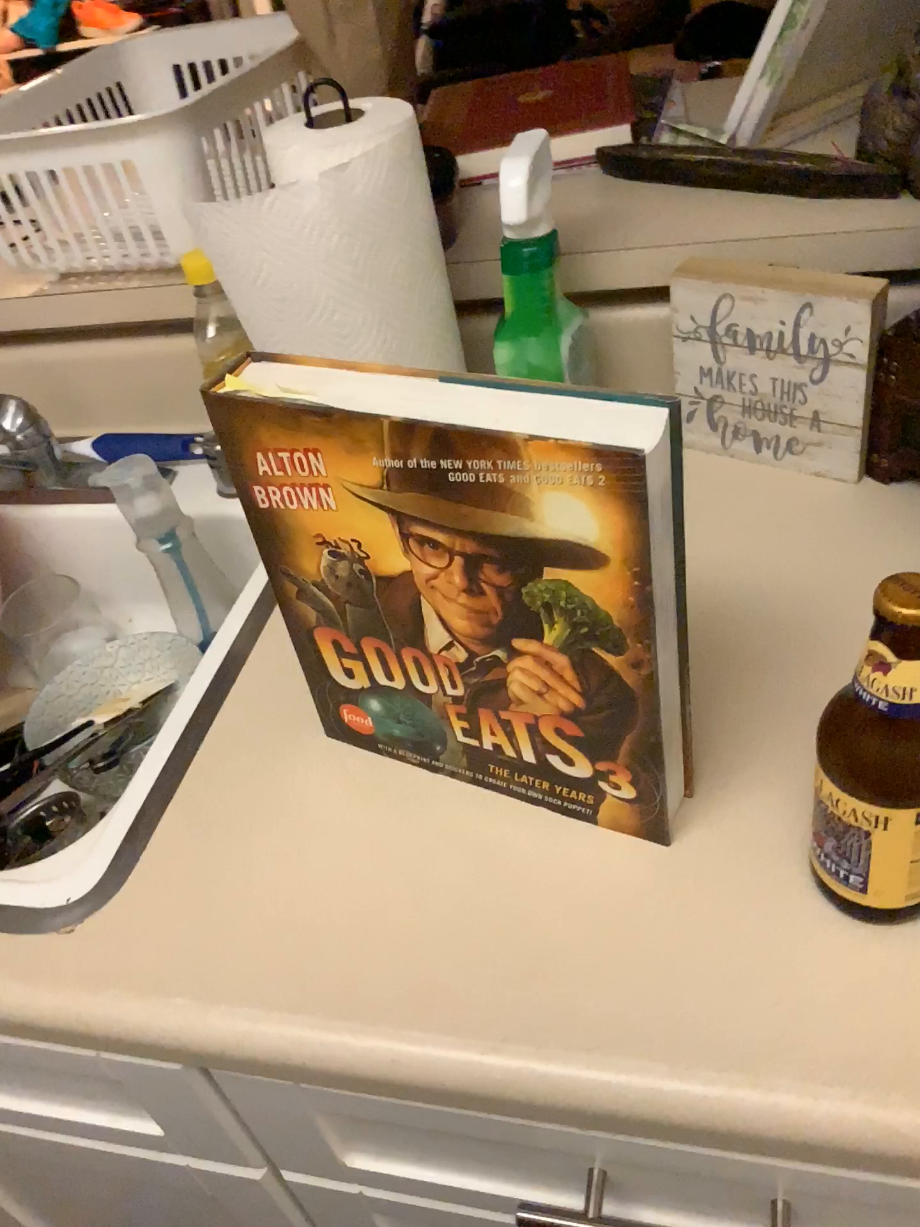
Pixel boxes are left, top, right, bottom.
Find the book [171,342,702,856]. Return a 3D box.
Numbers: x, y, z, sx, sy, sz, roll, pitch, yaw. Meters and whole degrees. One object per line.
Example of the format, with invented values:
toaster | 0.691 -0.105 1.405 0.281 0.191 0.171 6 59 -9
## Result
book | -0.002 -0.006 0.531 0.240 0.250 0.050 12 44 28
